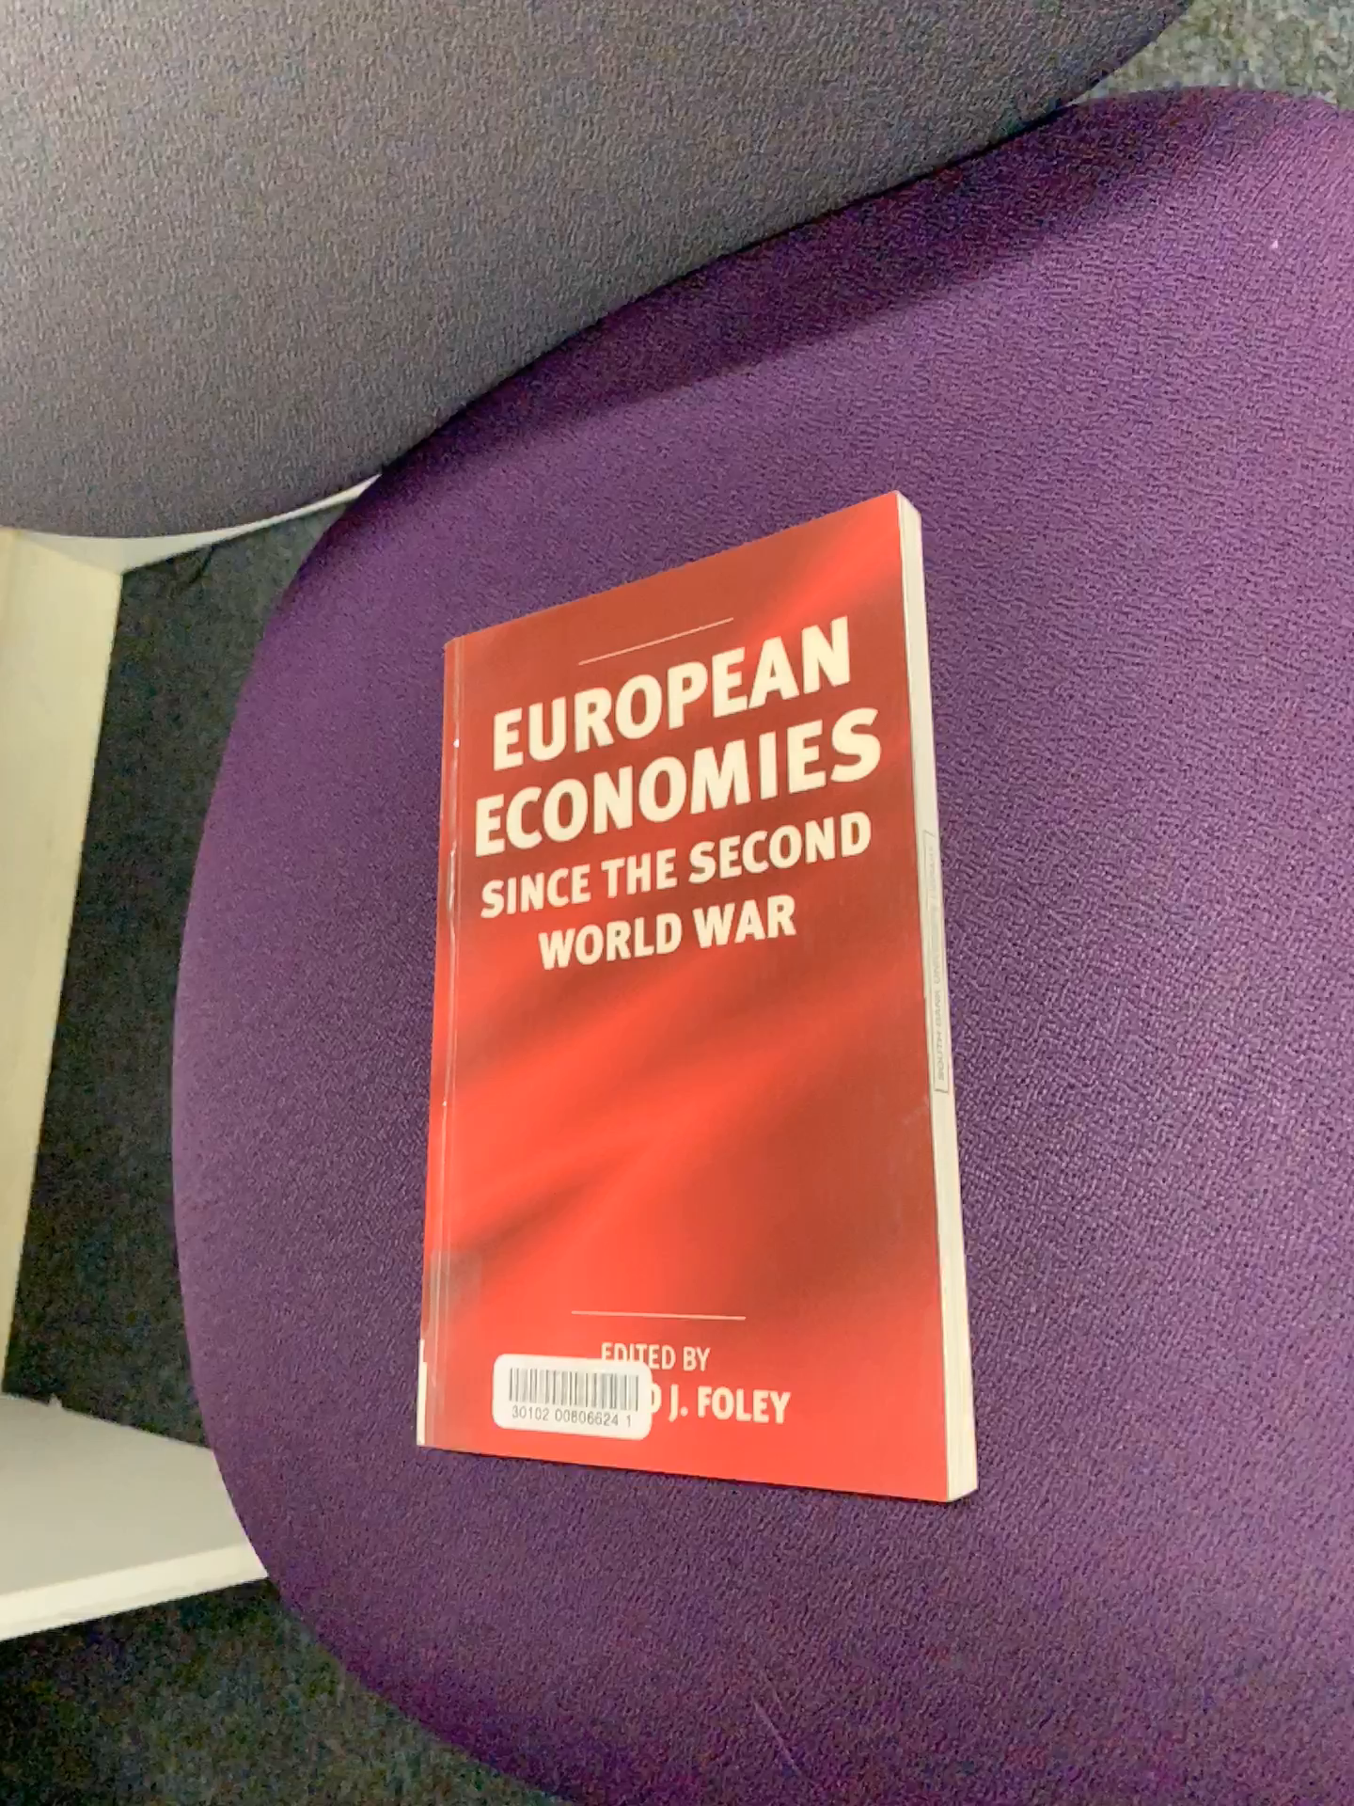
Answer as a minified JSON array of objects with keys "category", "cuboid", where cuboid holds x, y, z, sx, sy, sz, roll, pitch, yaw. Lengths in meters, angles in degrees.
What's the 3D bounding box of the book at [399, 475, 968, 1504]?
[{"category":"book","cuboid":[-0.006,0.021,0.351,0.149,0.020,0.225,-10,73,35]}]
